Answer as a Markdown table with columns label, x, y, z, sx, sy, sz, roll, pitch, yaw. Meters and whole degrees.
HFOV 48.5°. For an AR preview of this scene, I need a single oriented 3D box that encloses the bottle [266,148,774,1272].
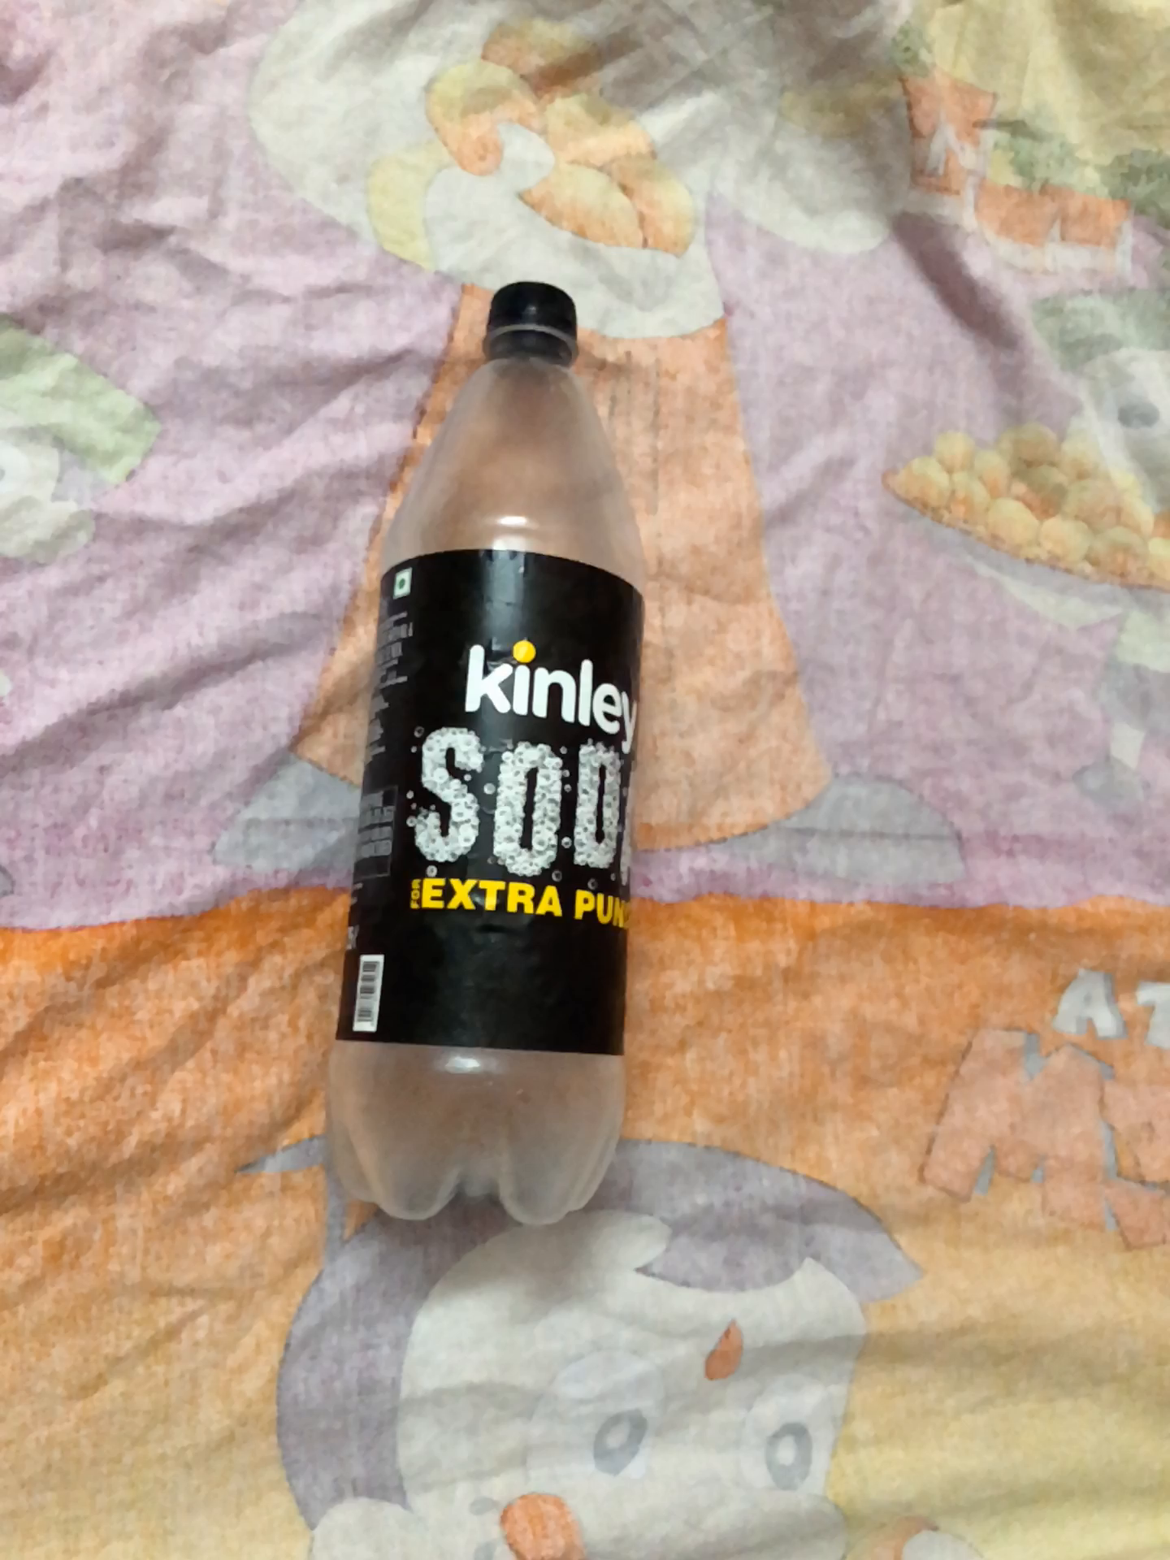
| label | x | y | z | sx | sy | sz | roll | pitch | yaw |
| --- | --- | --- | --- | --- | --- | --- | --- | --- | --- |
| bottle | -0.017 | -0.016 | 0.375 | 0.090 | 0.080 | 0.280 | 10 | 81 | -32 |
